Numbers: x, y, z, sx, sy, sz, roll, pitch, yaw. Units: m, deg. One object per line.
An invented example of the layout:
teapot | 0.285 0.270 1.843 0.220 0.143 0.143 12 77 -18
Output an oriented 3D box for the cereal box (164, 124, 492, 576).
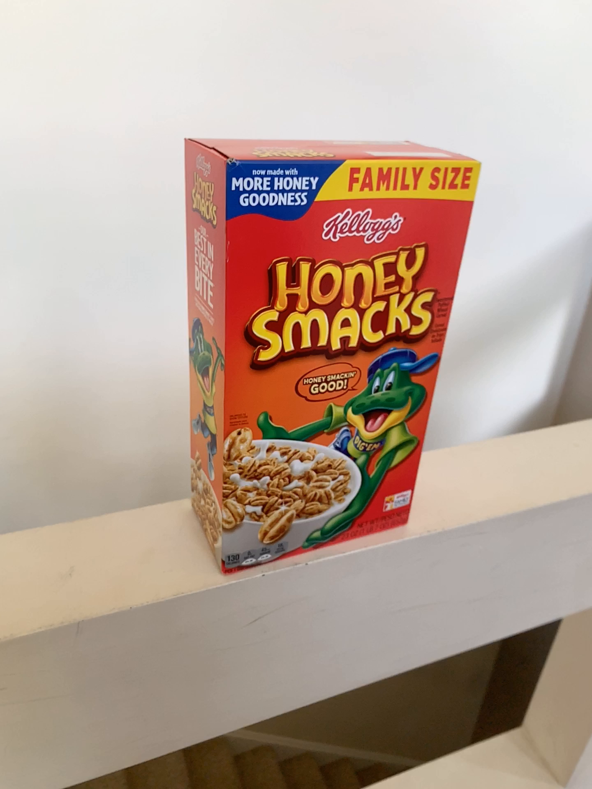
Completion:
cereal box | 0.013 -0.035 0.512 0.210 0.338 0.100 -9 31 -23
